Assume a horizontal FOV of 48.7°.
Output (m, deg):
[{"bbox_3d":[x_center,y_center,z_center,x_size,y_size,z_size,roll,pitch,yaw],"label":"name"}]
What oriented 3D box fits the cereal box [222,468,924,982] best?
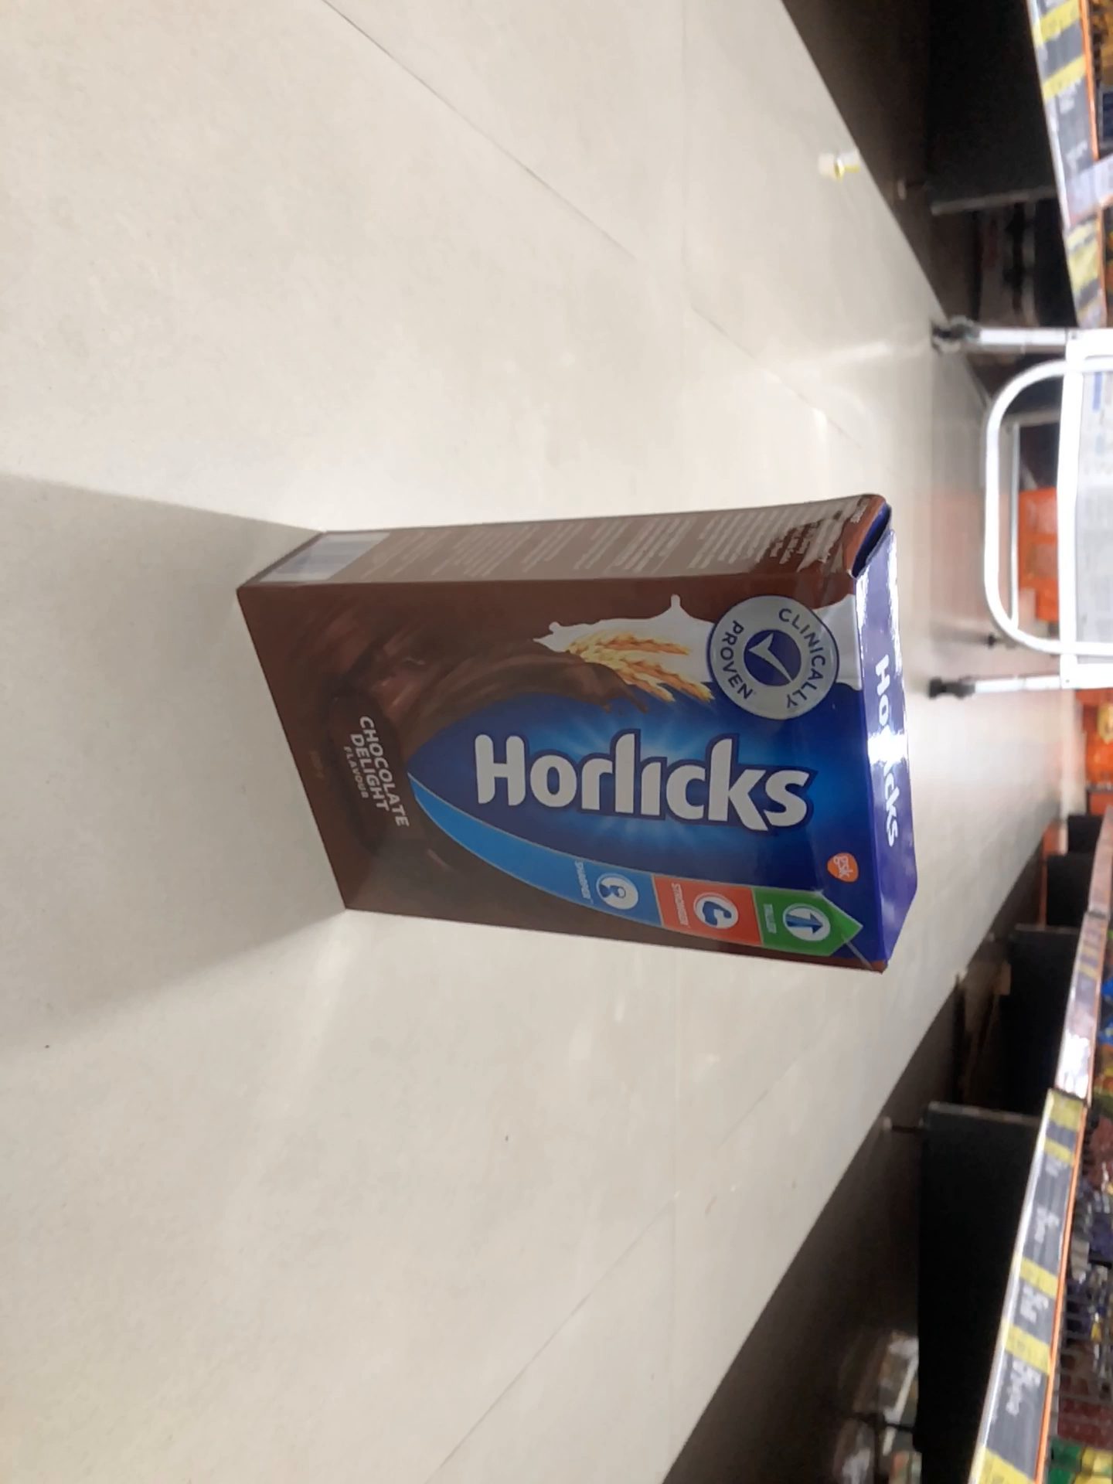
[{"bbox_3d":[0.010,-0.005,0.403,0.060,0.199,0.140,-53,138,-53],"label":"cereal box"}]
